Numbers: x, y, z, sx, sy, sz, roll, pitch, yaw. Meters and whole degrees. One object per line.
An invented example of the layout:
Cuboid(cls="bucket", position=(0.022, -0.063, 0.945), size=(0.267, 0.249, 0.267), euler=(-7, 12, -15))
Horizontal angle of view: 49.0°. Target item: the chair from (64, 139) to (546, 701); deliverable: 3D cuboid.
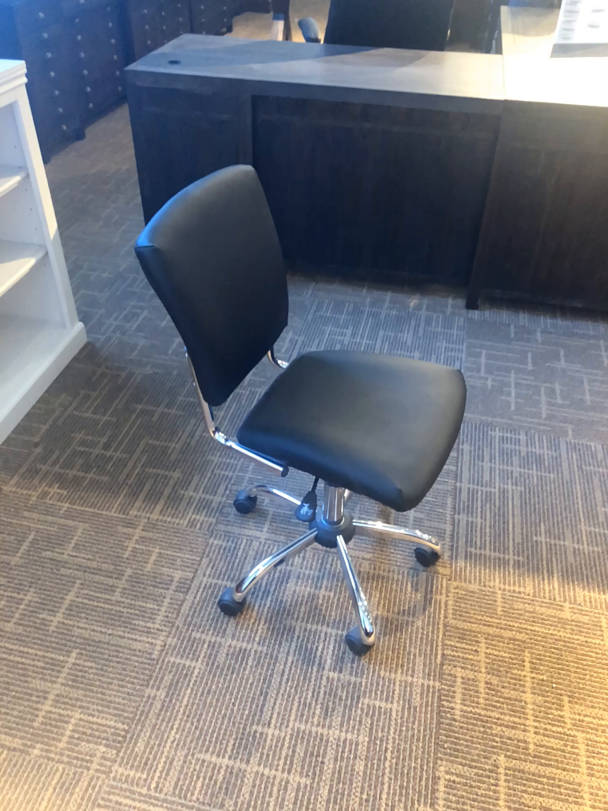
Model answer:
Cuboid(cls="chair", position=(0.036, 0.014, 1.349), size=(0.607, 0.826, 0.576), euler=(16, 42, 17))
